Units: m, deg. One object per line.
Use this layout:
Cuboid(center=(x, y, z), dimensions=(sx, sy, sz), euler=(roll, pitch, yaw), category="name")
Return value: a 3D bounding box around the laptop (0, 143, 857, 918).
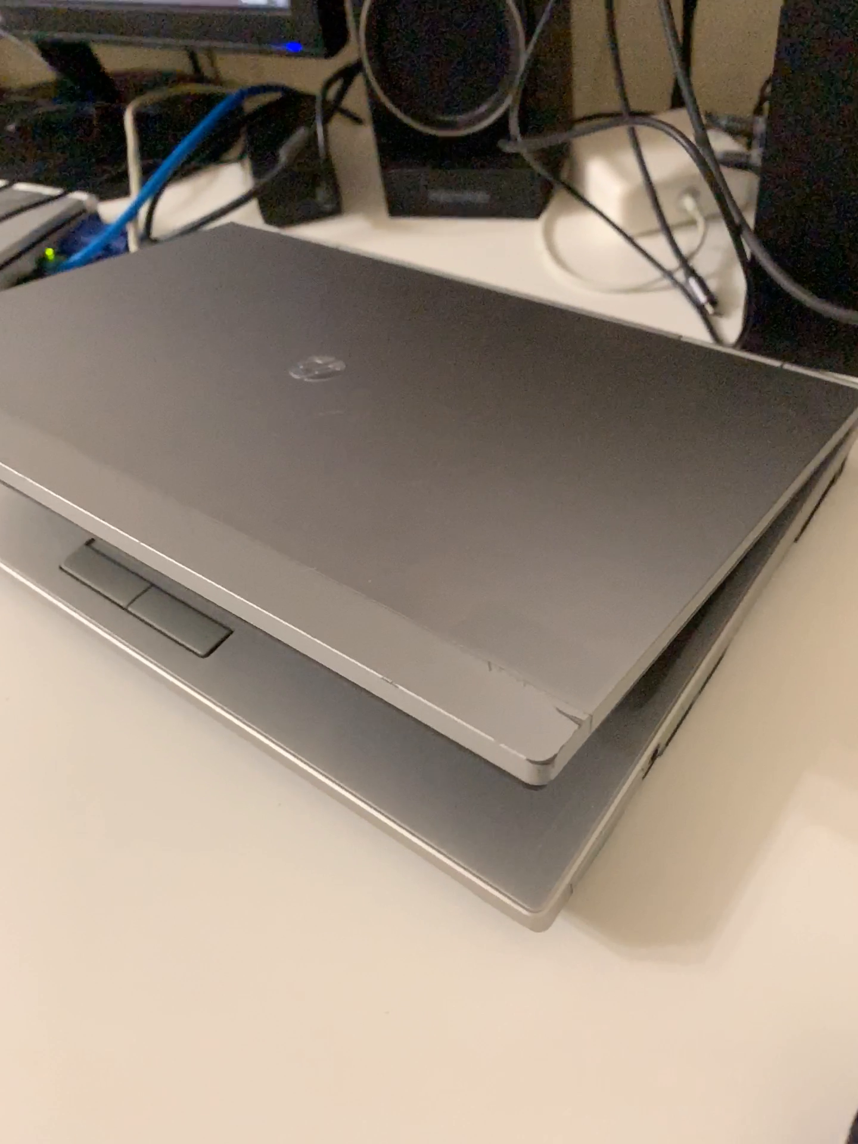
Cuboid(center=(-0.034, -0.058, 0.309), dimensions=(0.304, 0.042, 0.200), euler=(25, 60, 29), category="laptop")
